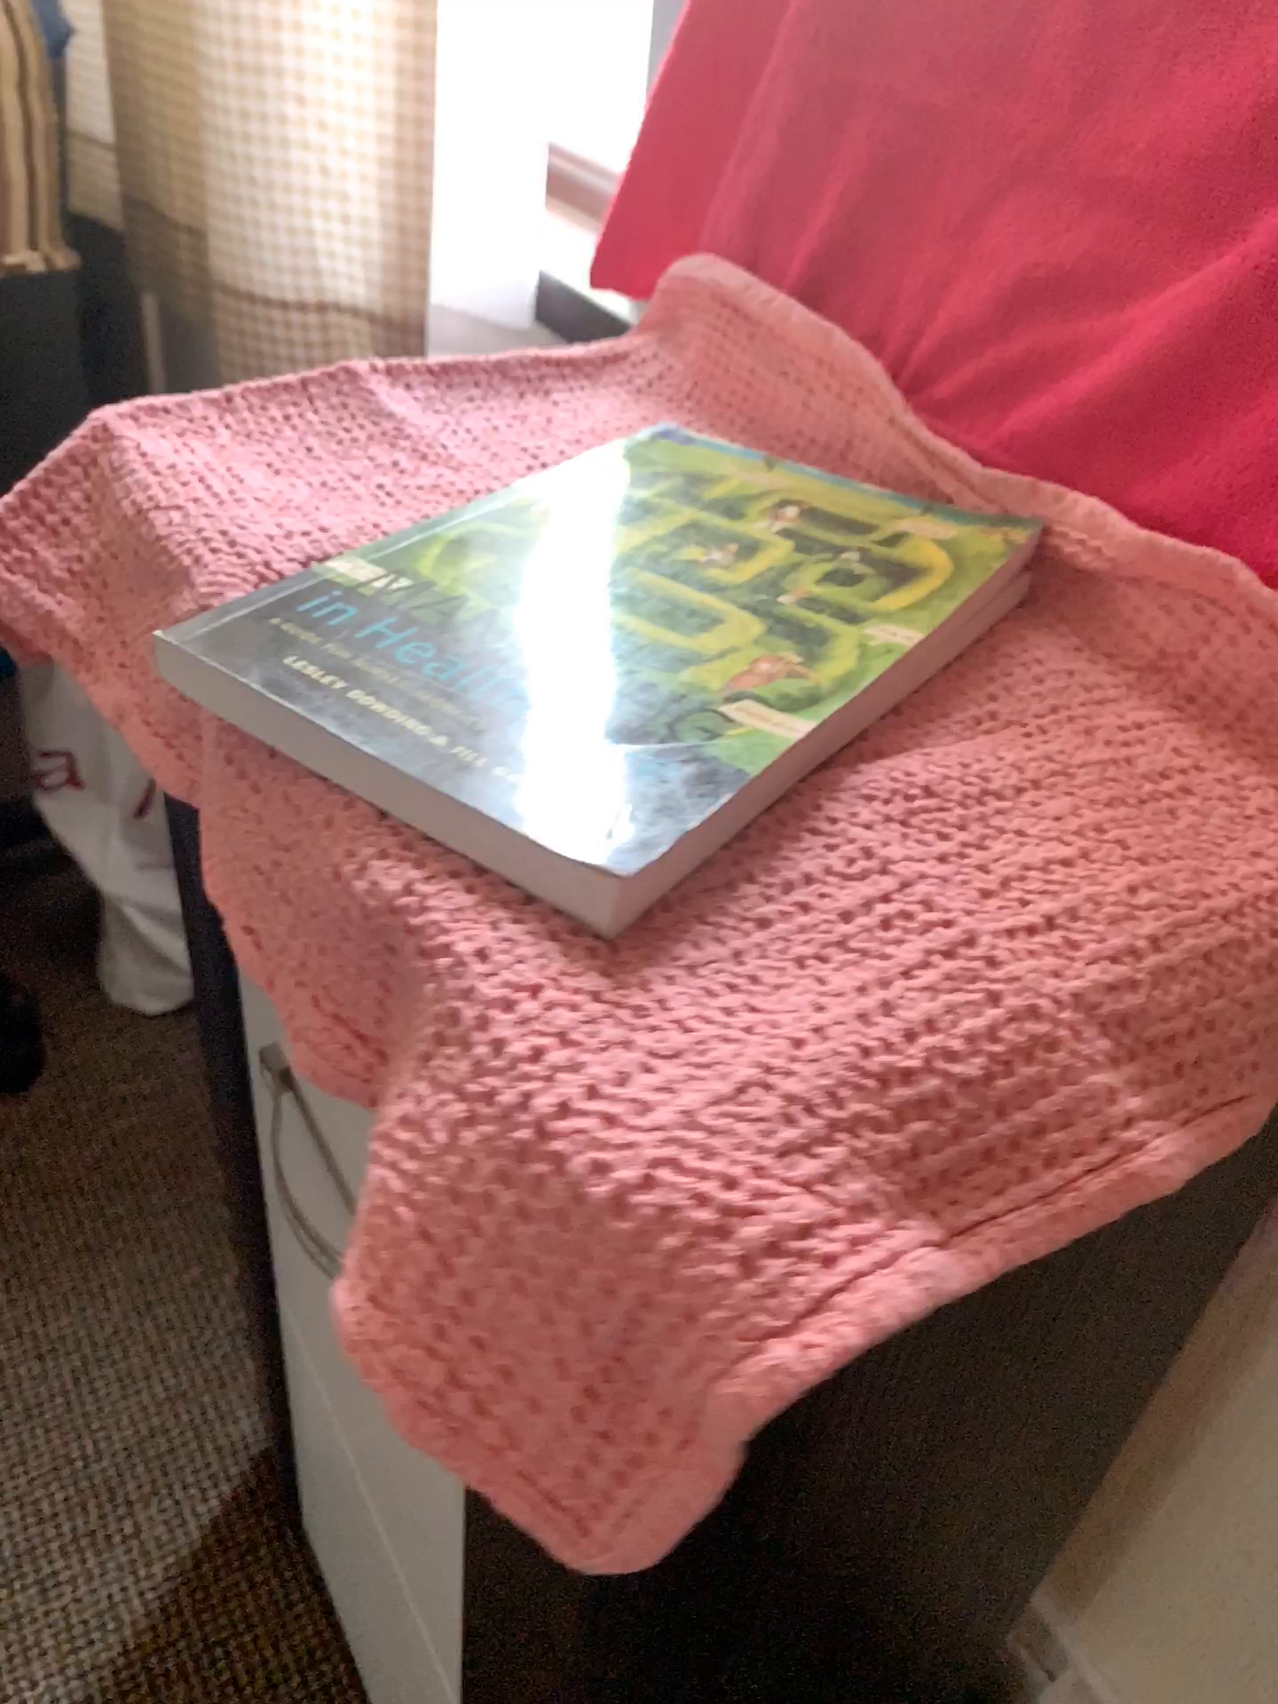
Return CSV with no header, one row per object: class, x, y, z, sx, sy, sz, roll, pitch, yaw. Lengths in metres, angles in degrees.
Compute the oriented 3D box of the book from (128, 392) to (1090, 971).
book,0.006,-0.075,0.392,0.171,0.020,0.241,28,43,25
